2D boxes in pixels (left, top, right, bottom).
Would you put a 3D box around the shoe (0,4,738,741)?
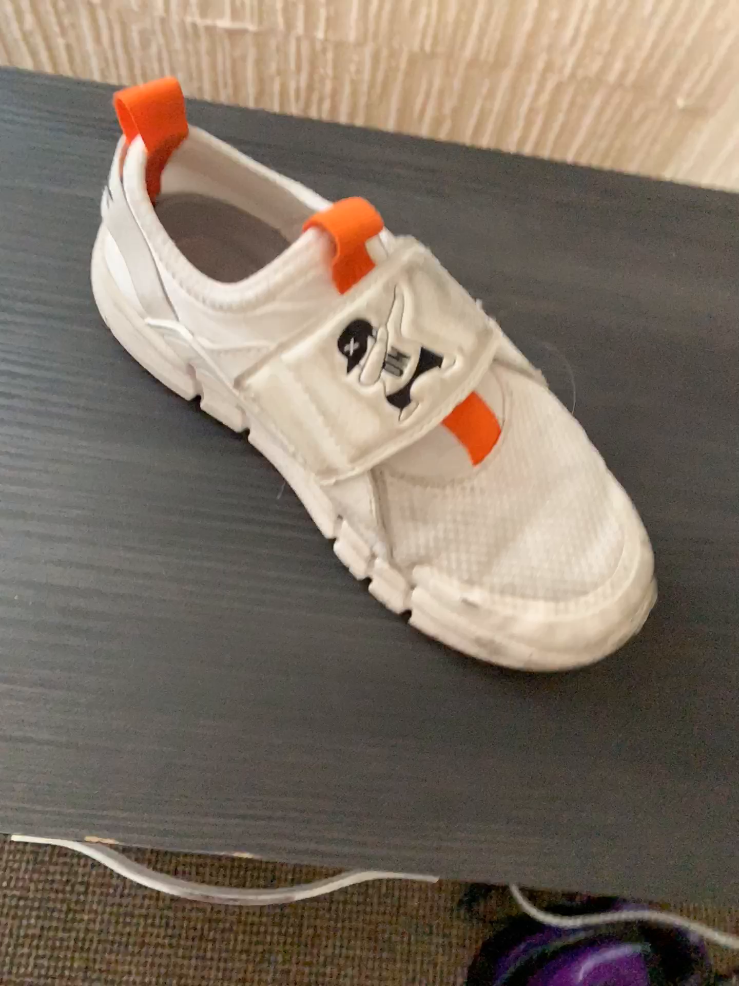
[{"bbox_3d":[0.000,-0.042,0.245,0.222,0.070,0.100,43,69,11],"label":"shoe"}]
